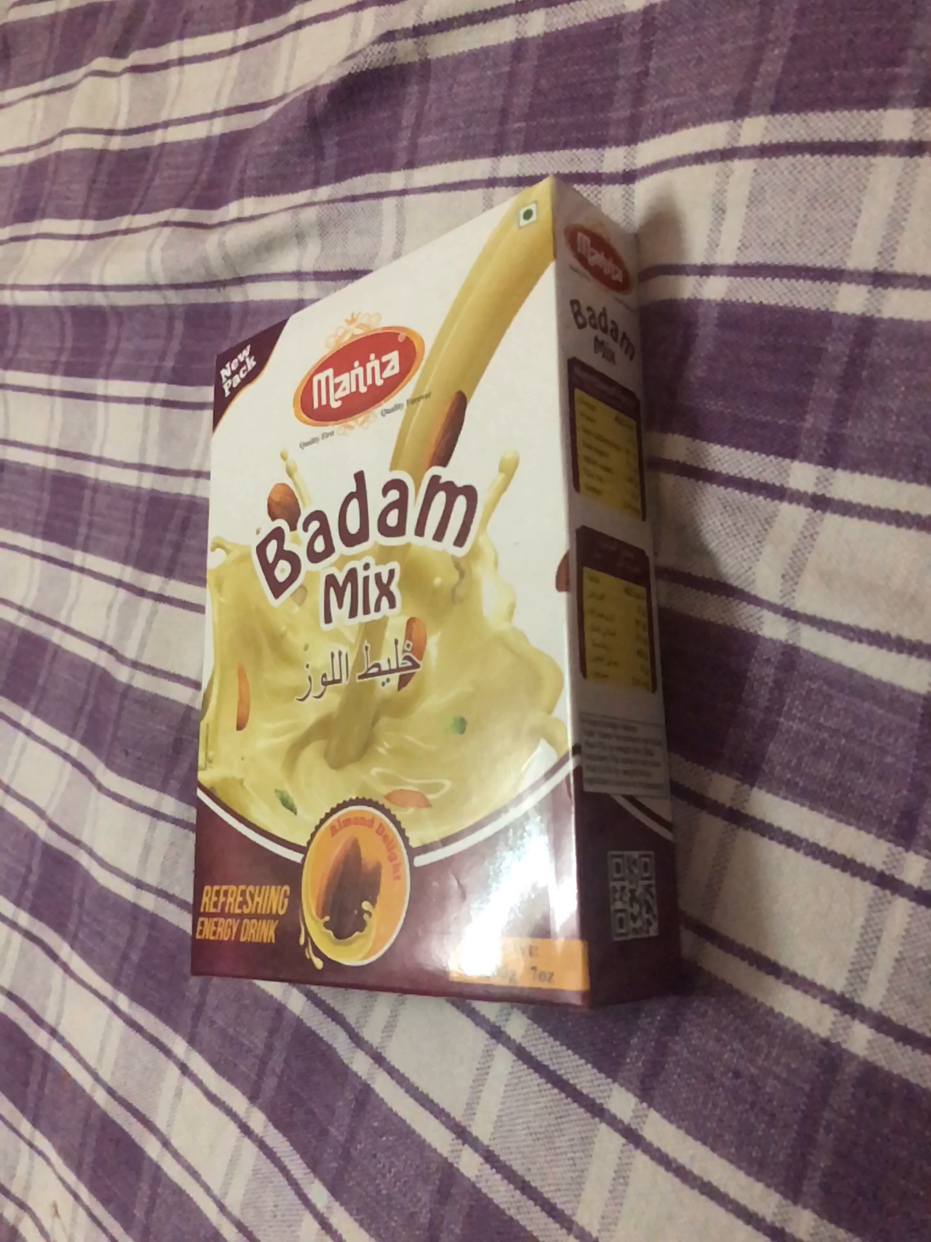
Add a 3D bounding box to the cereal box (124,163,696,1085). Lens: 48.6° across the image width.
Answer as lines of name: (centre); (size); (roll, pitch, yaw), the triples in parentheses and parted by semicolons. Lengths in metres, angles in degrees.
cereal box: (-0.018, 0.005, 0.255); (0.131, 0.050, 0.180); (-10, 73, 38)
